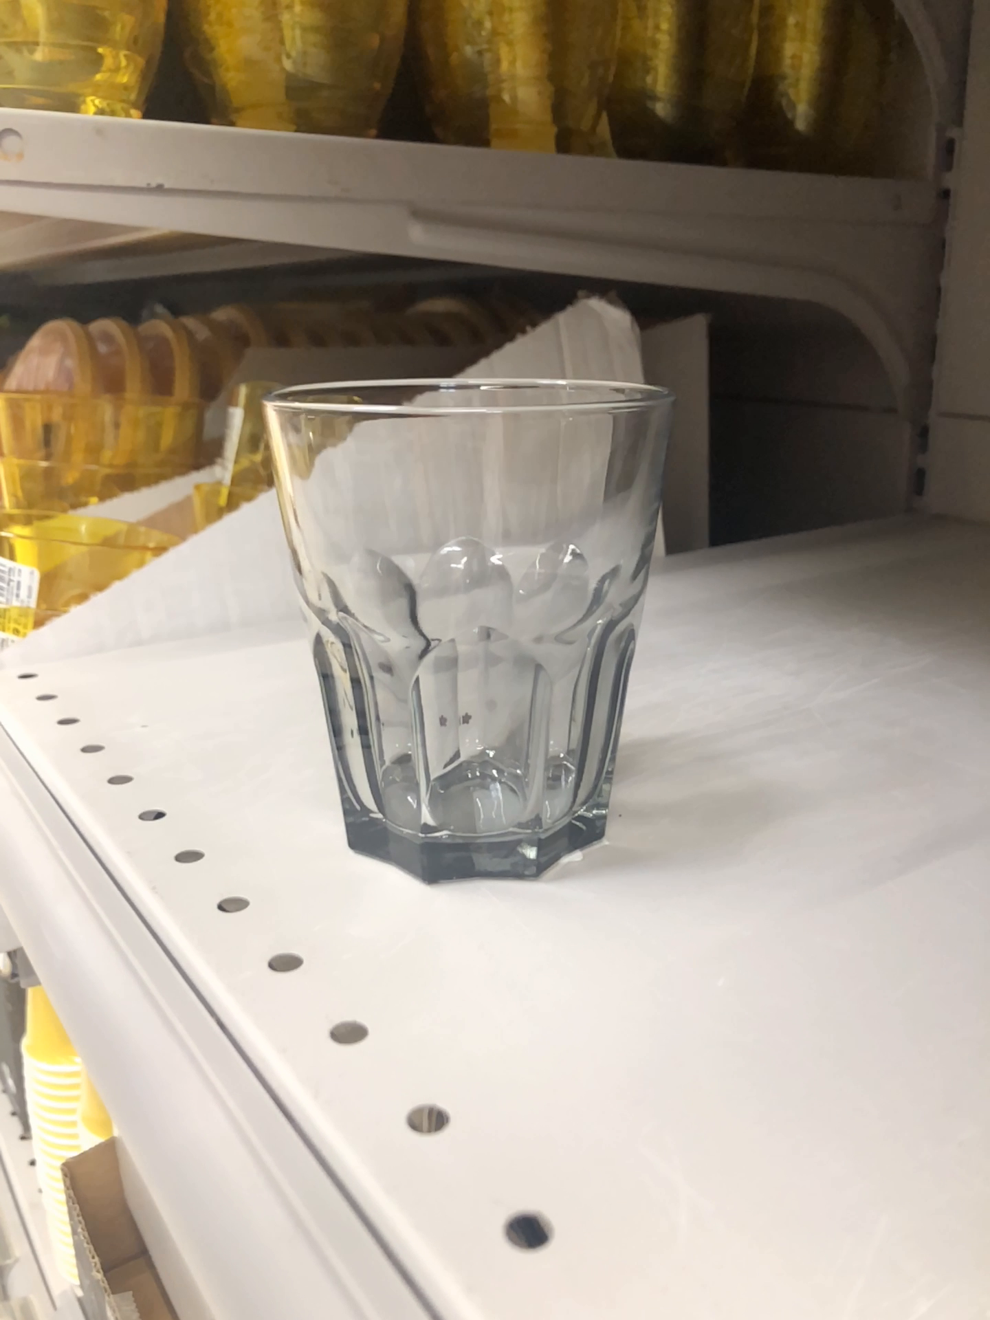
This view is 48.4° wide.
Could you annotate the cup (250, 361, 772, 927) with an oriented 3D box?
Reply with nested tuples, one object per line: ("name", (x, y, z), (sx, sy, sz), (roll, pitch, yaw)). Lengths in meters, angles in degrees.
("cup", (0.000, -0.011, 0.226), (0.082, 0.092, 0.086), (0, 17, 0))
